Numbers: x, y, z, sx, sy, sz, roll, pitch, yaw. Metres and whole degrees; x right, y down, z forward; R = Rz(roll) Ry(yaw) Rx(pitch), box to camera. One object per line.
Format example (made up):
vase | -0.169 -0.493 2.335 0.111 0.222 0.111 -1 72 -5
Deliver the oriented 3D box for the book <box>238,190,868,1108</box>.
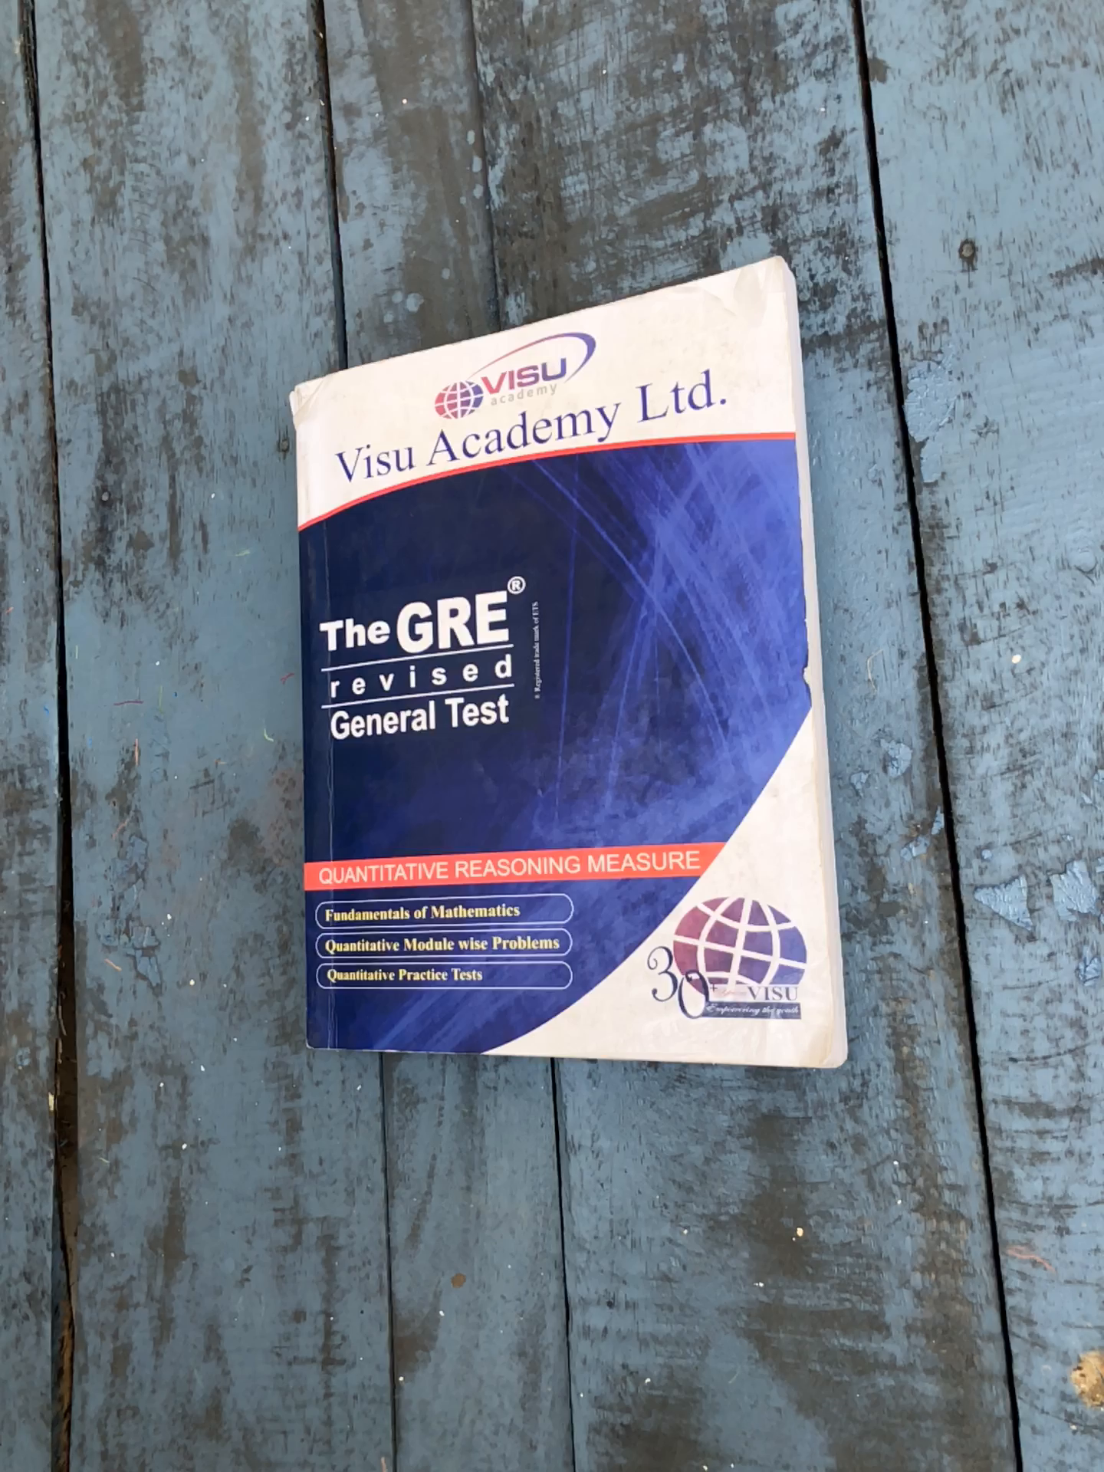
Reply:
book | -0.008 -0.022 0.454 0.221 0.060 0.290 -5 81 27
